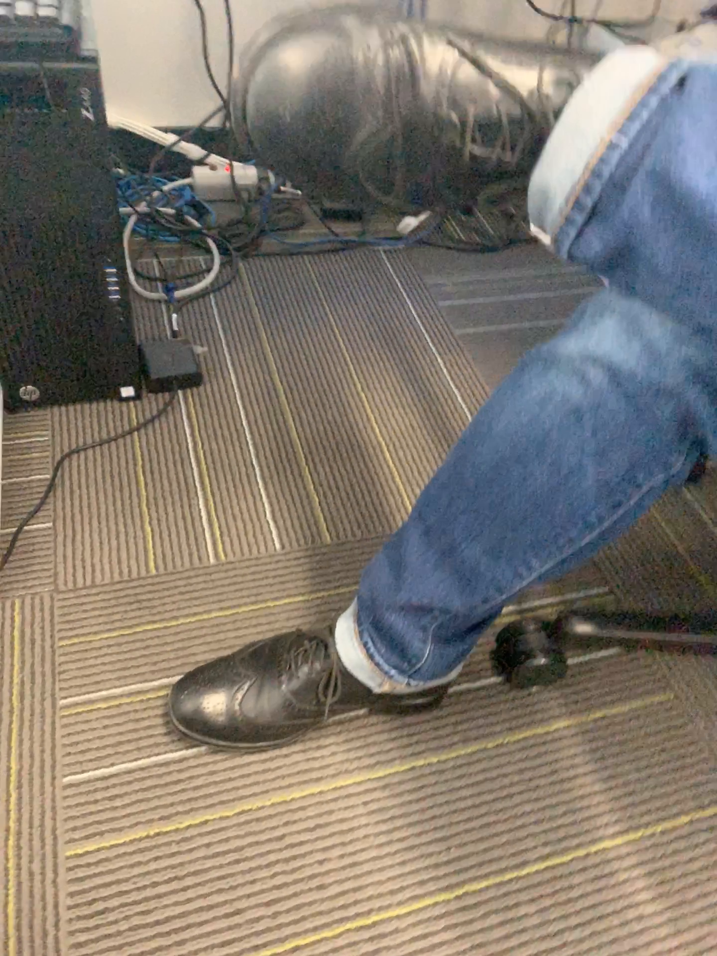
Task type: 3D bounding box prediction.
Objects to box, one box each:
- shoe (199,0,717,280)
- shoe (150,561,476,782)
[{"bbox_3d":[0.059,-0.195,0.409,0.273,0.111,0.092,-9,47,-16],"label":"shoe"},{"bbox_3d":[-0.045,0.179,0.697,0.273,0.104,0.112,-9,51,-16],"label":"shoe"}]
